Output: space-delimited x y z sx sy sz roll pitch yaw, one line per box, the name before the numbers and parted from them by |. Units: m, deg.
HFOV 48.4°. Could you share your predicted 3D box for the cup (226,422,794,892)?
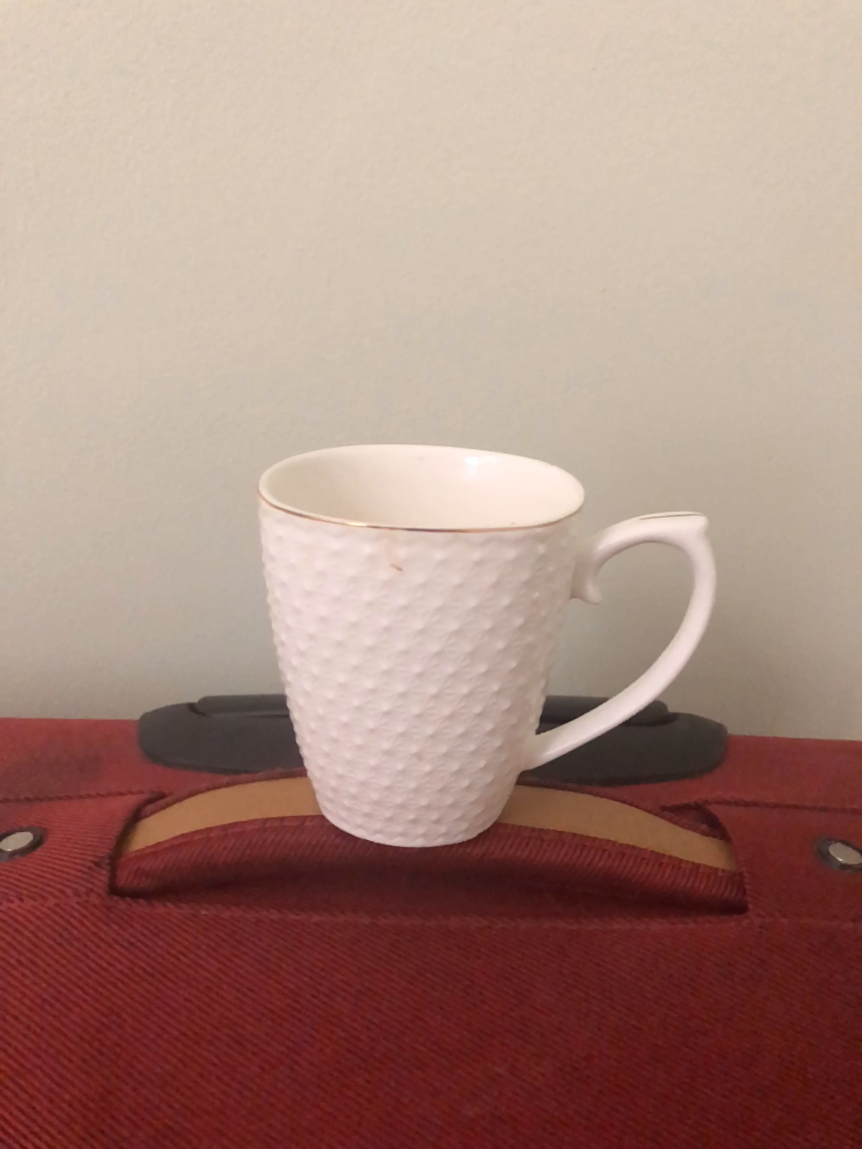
cup | 0.012 0.014 0.235 0.111 0.084 0.075 -2 22 -7
